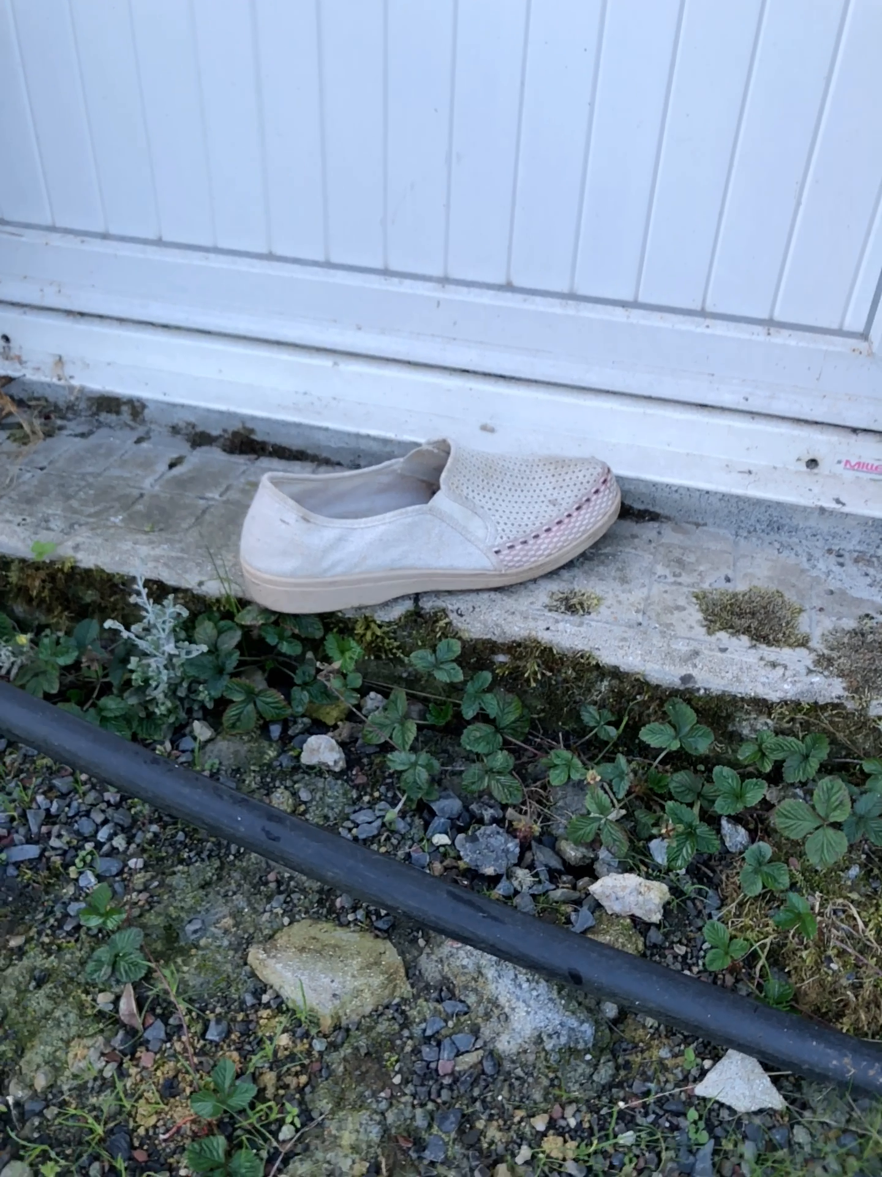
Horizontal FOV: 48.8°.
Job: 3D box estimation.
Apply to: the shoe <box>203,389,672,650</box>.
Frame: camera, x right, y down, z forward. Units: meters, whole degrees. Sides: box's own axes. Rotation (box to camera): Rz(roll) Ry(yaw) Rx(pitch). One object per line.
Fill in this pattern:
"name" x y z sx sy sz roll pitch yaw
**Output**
"shoe" -0.001 -0.053 0.638 0.281 0.080 0.100 -13 39 -20
